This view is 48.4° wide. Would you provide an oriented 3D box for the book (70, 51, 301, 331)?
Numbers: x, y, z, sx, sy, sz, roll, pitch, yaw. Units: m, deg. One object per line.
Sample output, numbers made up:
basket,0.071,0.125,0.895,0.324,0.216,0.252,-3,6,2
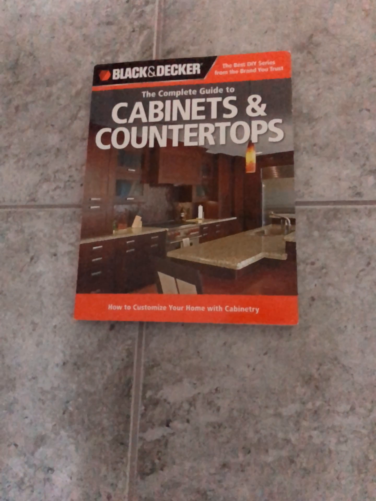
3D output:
book,-0.001,-0.065,0.425,0.215,0.022,0.281,0,78,9
